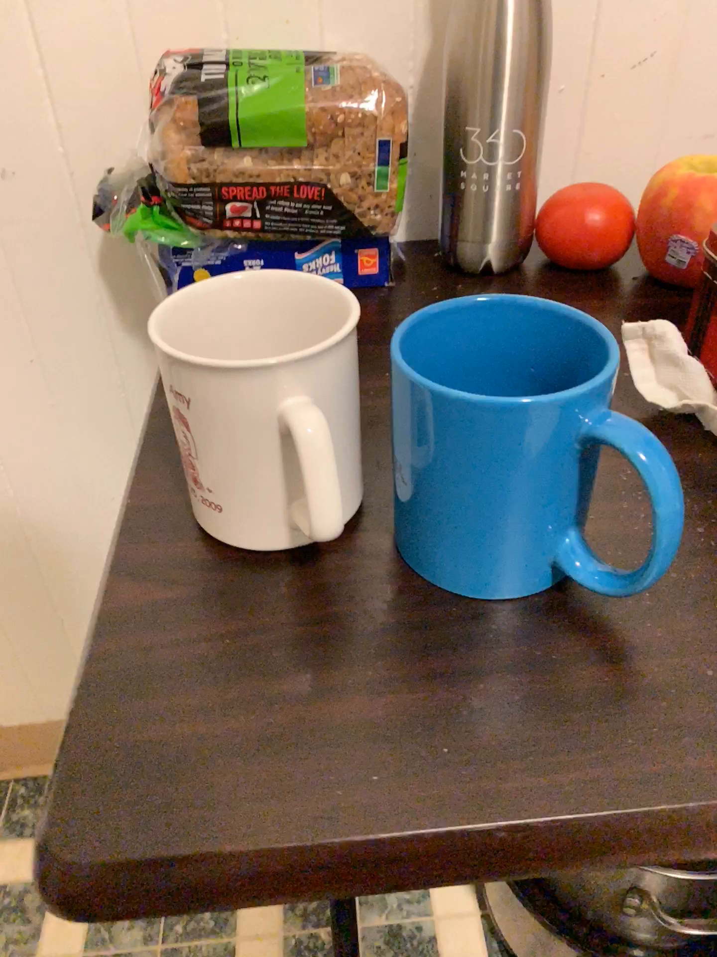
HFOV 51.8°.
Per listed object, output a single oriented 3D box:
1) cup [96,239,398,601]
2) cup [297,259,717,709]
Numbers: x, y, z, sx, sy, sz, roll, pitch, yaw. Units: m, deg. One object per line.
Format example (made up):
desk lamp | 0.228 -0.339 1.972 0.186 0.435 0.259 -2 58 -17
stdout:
cup | -0.049 -0.033 0.321 0.090 0.089 0.121 -16 40 -16
cup | 0.055 -0.009 0.298 0.090 0.099 0.141 -26 44 -27
